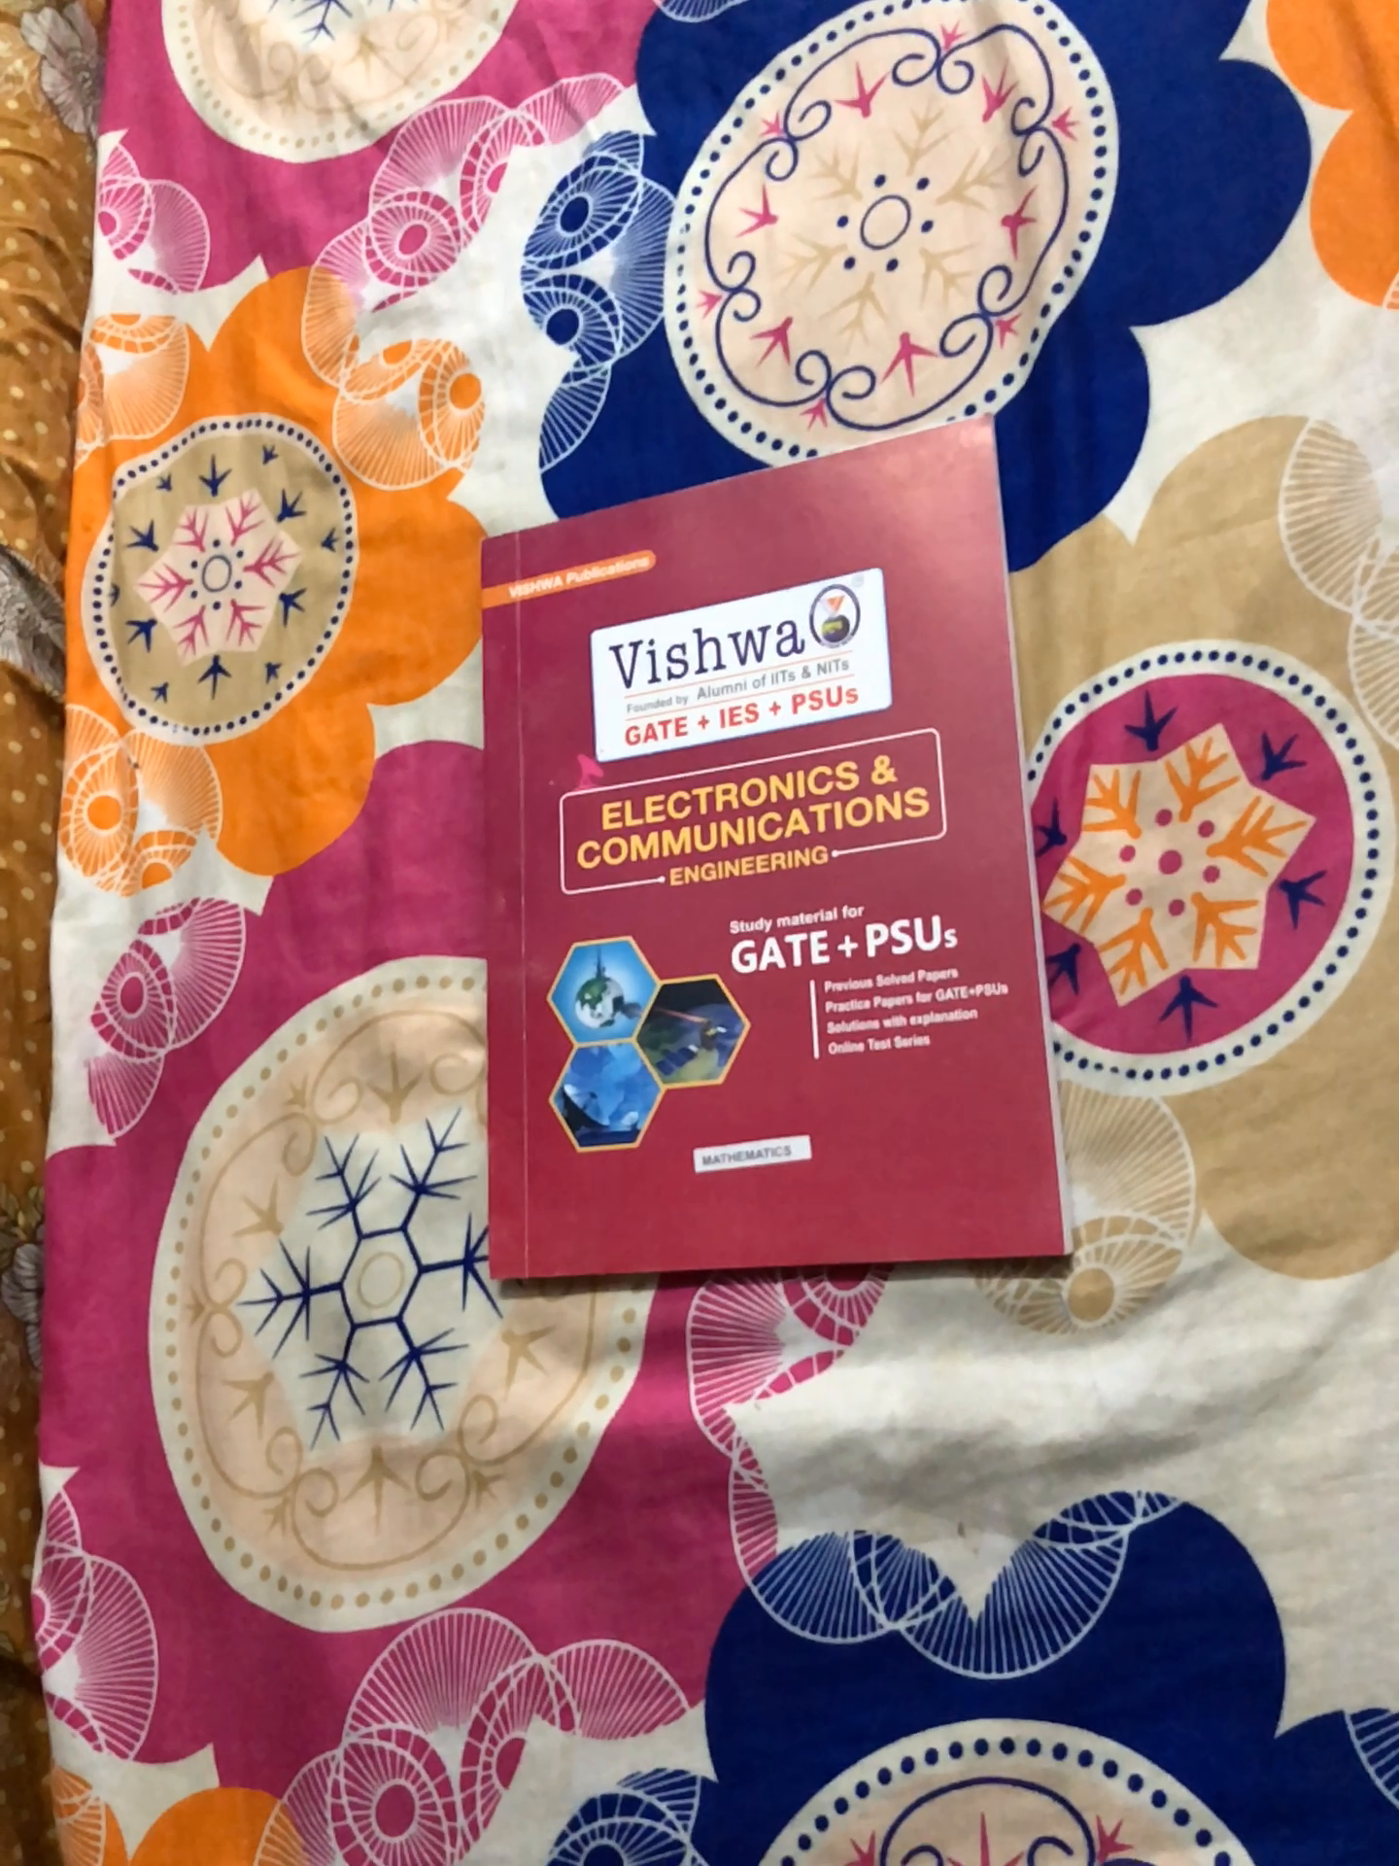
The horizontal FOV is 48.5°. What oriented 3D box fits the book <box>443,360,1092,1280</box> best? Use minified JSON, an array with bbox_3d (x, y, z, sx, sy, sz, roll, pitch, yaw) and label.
[{"bbox_3d":[0.013,-0.035,0.549,0.217,0.030,0.300,-7,76,21],"label":"book"}]
